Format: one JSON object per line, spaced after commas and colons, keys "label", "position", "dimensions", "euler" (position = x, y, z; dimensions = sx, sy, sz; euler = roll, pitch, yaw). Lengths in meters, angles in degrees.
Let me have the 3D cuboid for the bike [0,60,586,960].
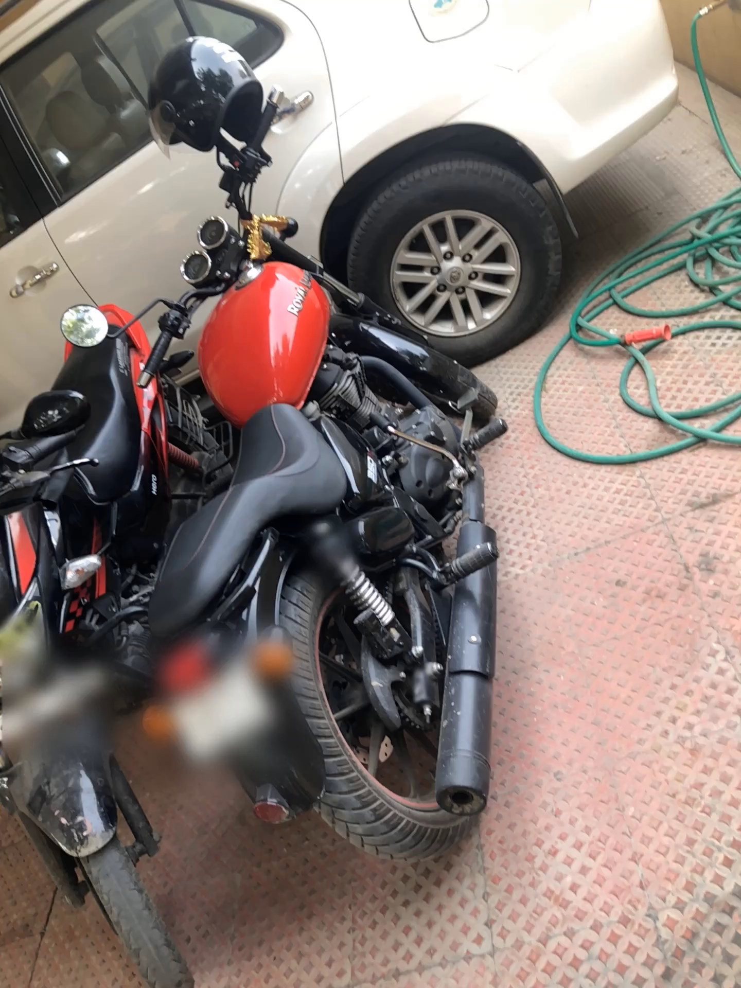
{"label": "bike", "position": [-0.239, -0.082, 2.002], "dimensions": [0.820, 1.270, 1.721], "euler": [-22, 33, 18]}
